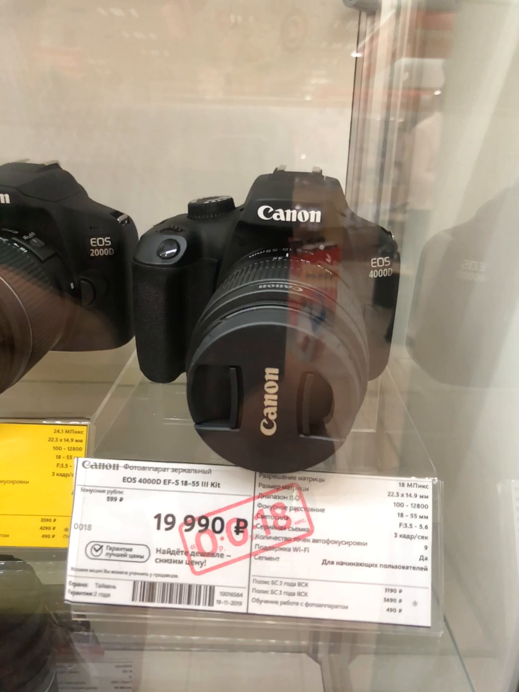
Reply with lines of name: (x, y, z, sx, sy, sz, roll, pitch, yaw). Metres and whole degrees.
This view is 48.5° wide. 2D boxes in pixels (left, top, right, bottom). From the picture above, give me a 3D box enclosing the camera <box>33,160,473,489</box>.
camera: (-0.002, -0.025, 0.249, 0.125, 0.100, 0.147, 2, 18, 1)
